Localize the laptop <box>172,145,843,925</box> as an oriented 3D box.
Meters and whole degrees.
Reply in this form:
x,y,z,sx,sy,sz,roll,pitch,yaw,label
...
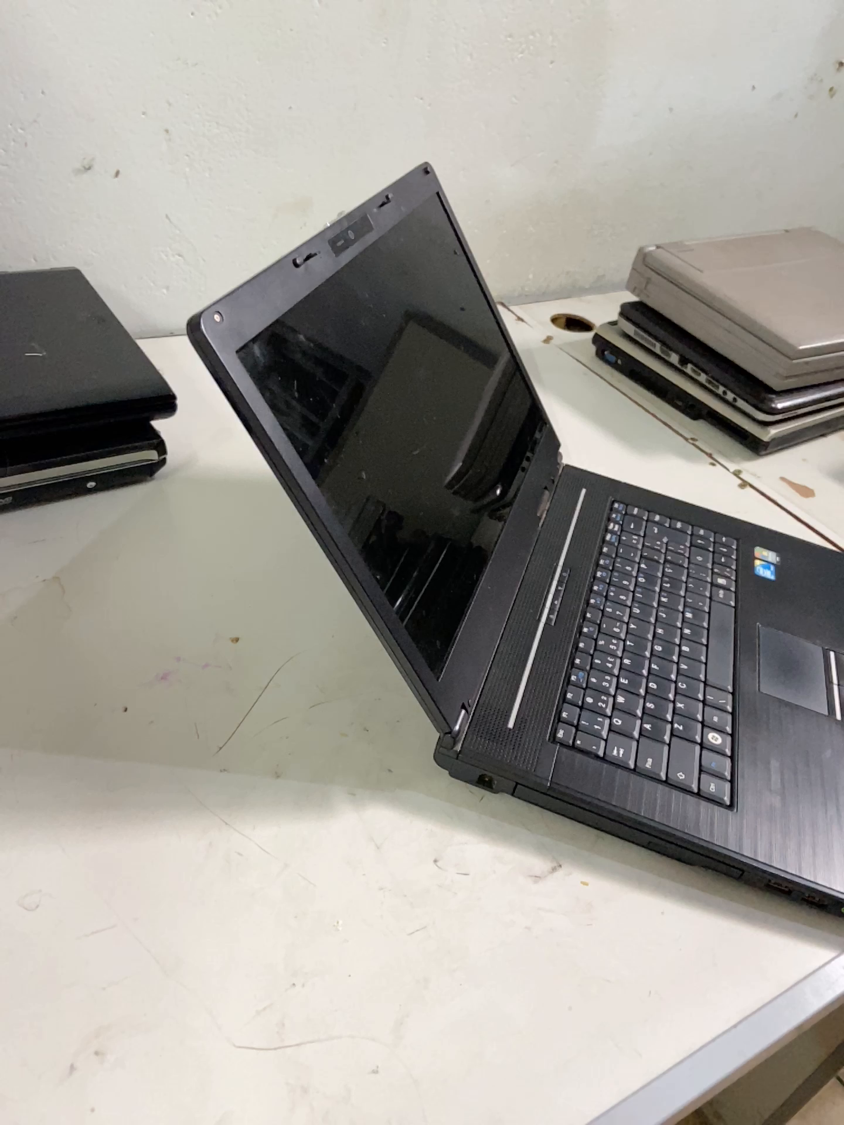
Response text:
x,y,z,sx,sy,sz,roll,pitch,yaw,label
0.130,-0.061,0.560,0.429,0.224,0.353,19,39,8,laptop
